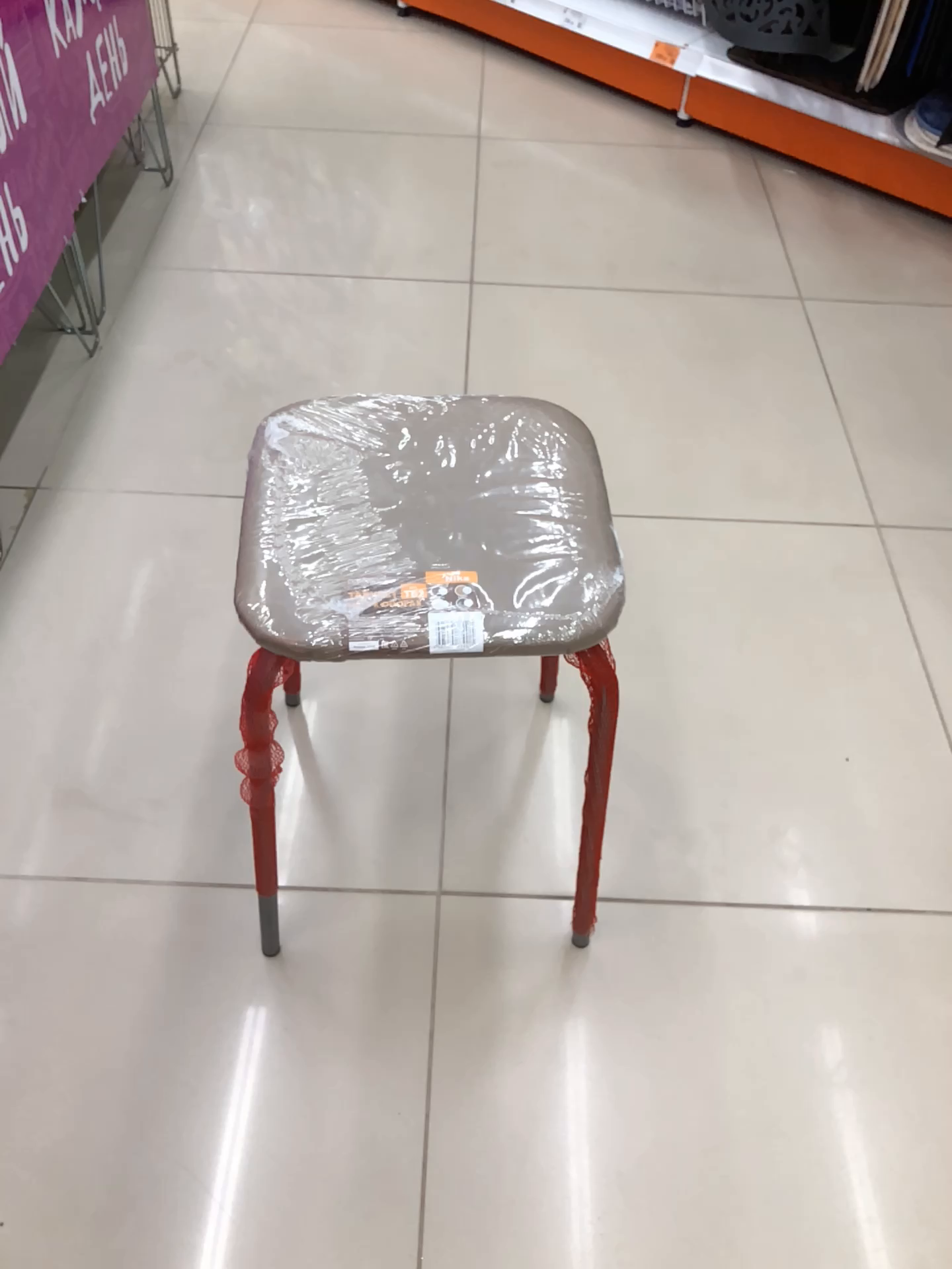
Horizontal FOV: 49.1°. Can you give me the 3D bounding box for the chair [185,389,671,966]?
[{"bbox_3d":[-0.048,0.052,0.981,0.330,0.437,0.332,-1,48,-4],"label":"chair"}]
